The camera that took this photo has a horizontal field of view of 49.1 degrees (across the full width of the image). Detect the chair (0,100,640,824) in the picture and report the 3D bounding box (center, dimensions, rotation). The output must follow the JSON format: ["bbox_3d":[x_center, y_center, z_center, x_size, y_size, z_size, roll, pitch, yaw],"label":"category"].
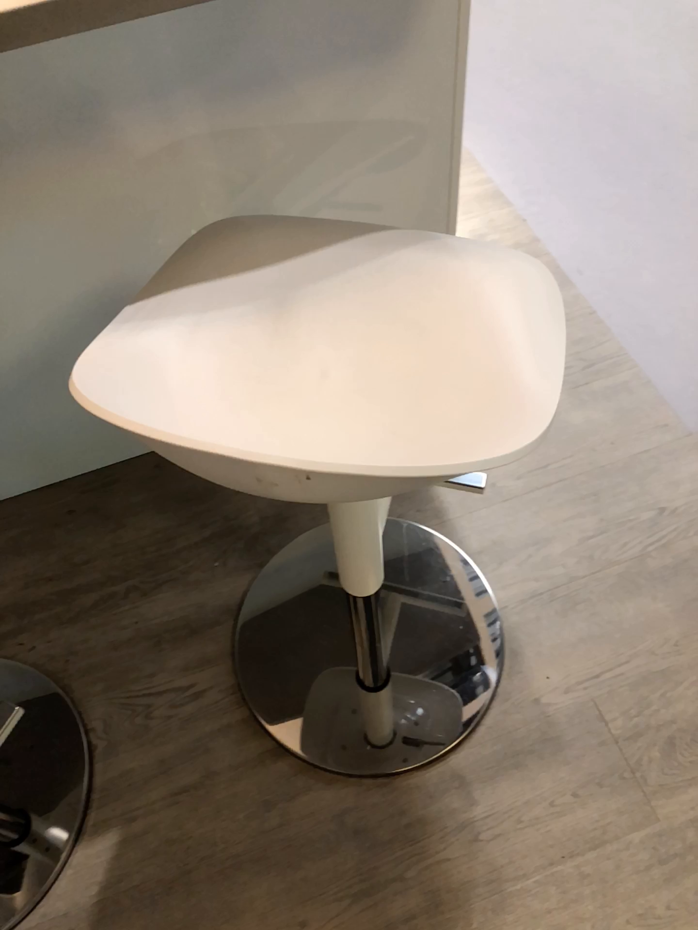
[{"bbox_3d":[0.011,0.063,0.868,0.440,0.716,0.442,8,57,10],"label":"chair"}]
